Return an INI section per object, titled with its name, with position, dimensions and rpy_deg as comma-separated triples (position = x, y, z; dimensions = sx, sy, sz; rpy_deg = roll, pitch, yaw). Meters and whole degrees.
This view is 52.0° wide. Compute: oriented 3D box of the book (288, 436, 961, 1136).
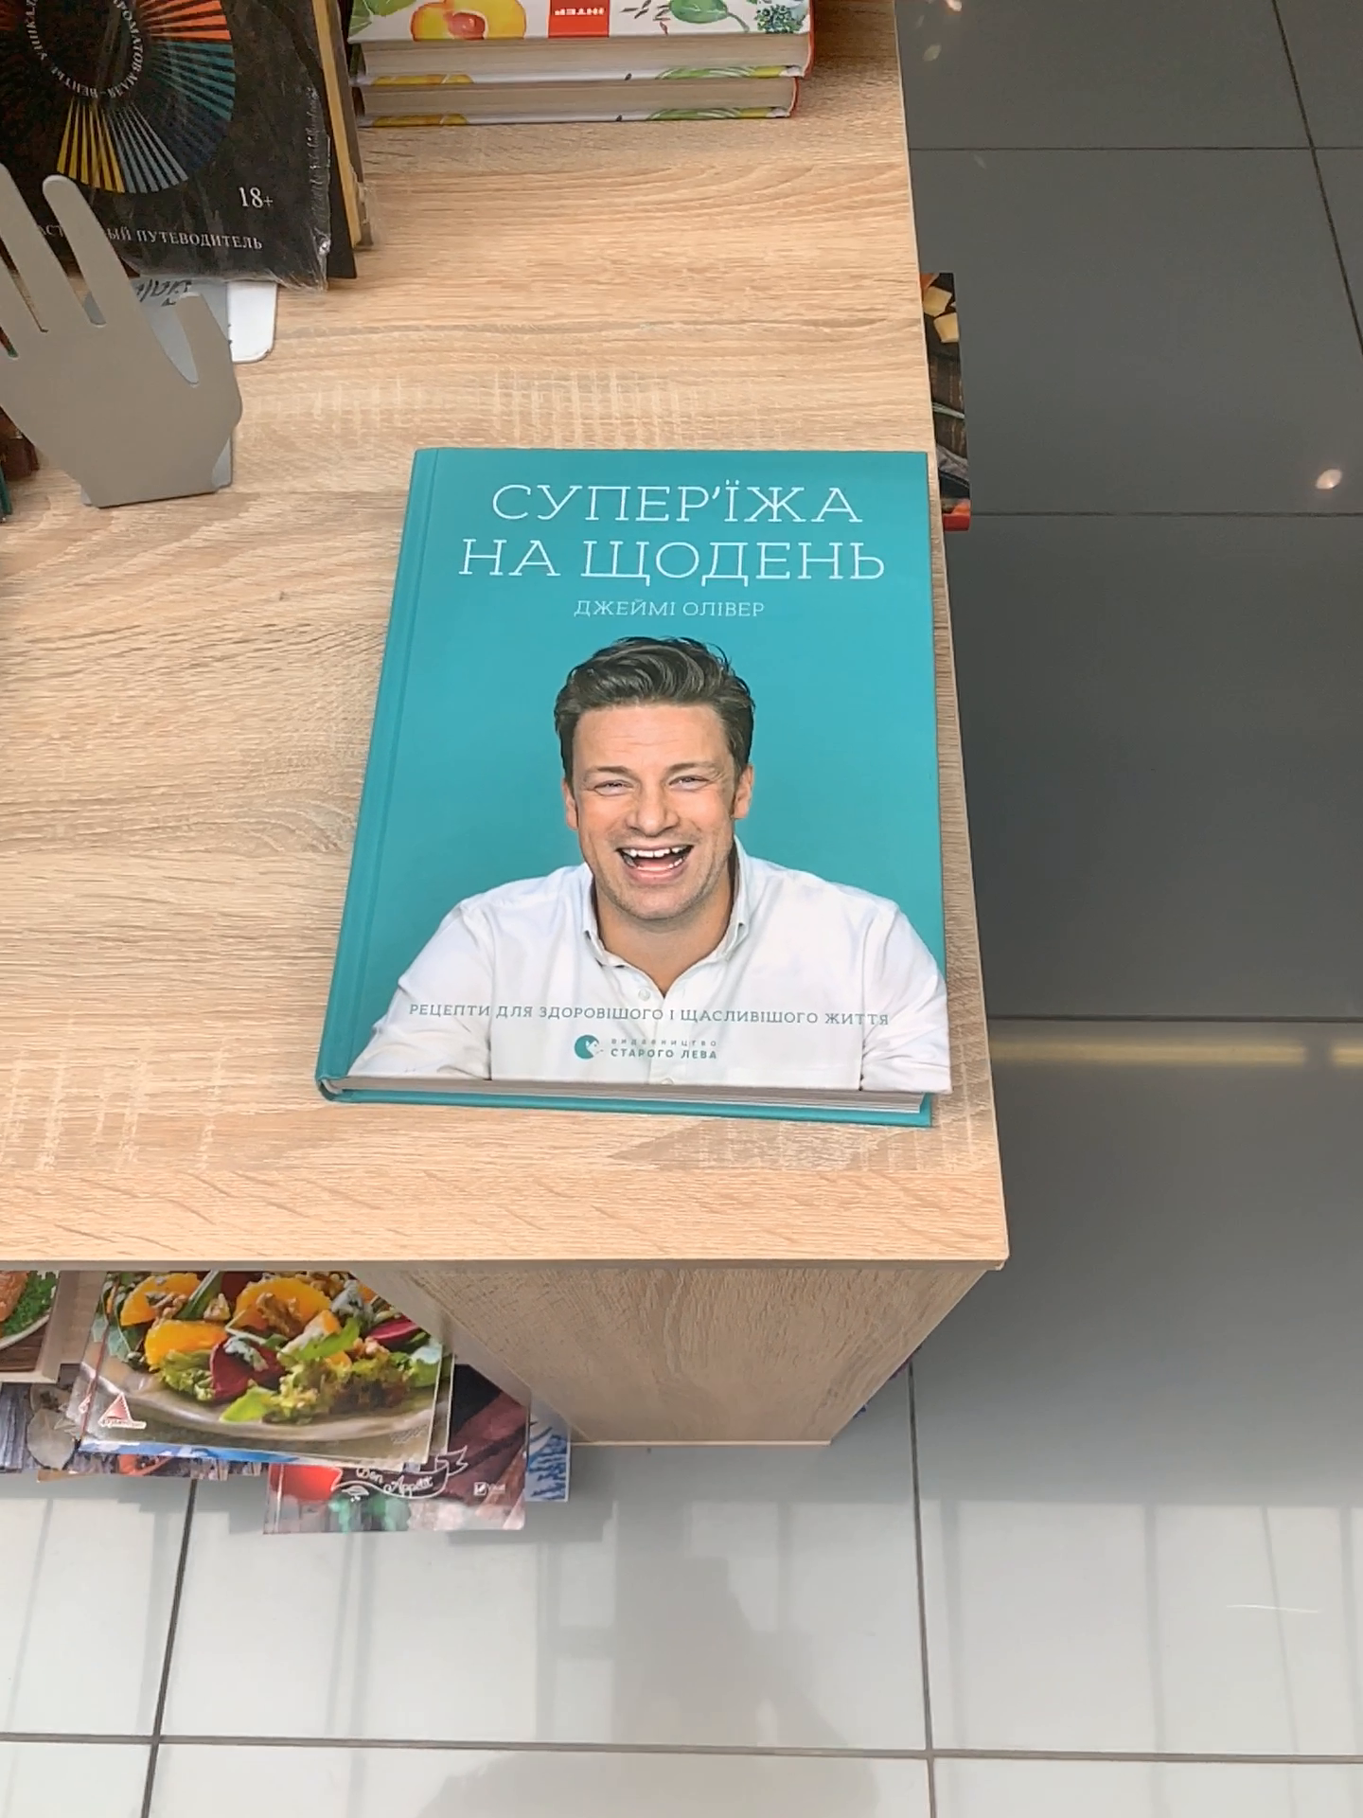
[book]
position = -0.011, -0.054, 0.481
dimensions = 0.200, 0.030, 0.255
rpy_deg = 2, 65, 4
